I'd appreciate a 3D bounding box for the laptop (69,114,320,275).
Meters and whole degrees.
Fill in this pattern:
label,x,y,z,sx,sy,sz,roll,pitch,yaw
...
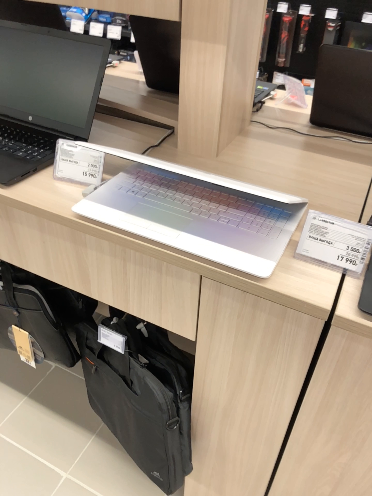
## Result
label,x,y,z,sx,sy,sz,roll,pitch,yaw
laptop,0.018,-0.120,0.742,0.368,0.103,0.233,19,42,21

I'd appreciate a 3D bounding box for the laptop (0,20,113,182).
label,x,y,z,sx,sy,sz,roll,pitch,yaw
laptop,-0.437,-0.374,0.962,0.386,0.203,0.369,20,40,20

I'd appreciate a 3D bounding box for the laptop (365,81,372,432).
label,x,y,z,sx,sy,sz,roll,pitch,yaw
laptop,0.507,-0.041,0.571,0.391,0.219,0.351,20,39,18
